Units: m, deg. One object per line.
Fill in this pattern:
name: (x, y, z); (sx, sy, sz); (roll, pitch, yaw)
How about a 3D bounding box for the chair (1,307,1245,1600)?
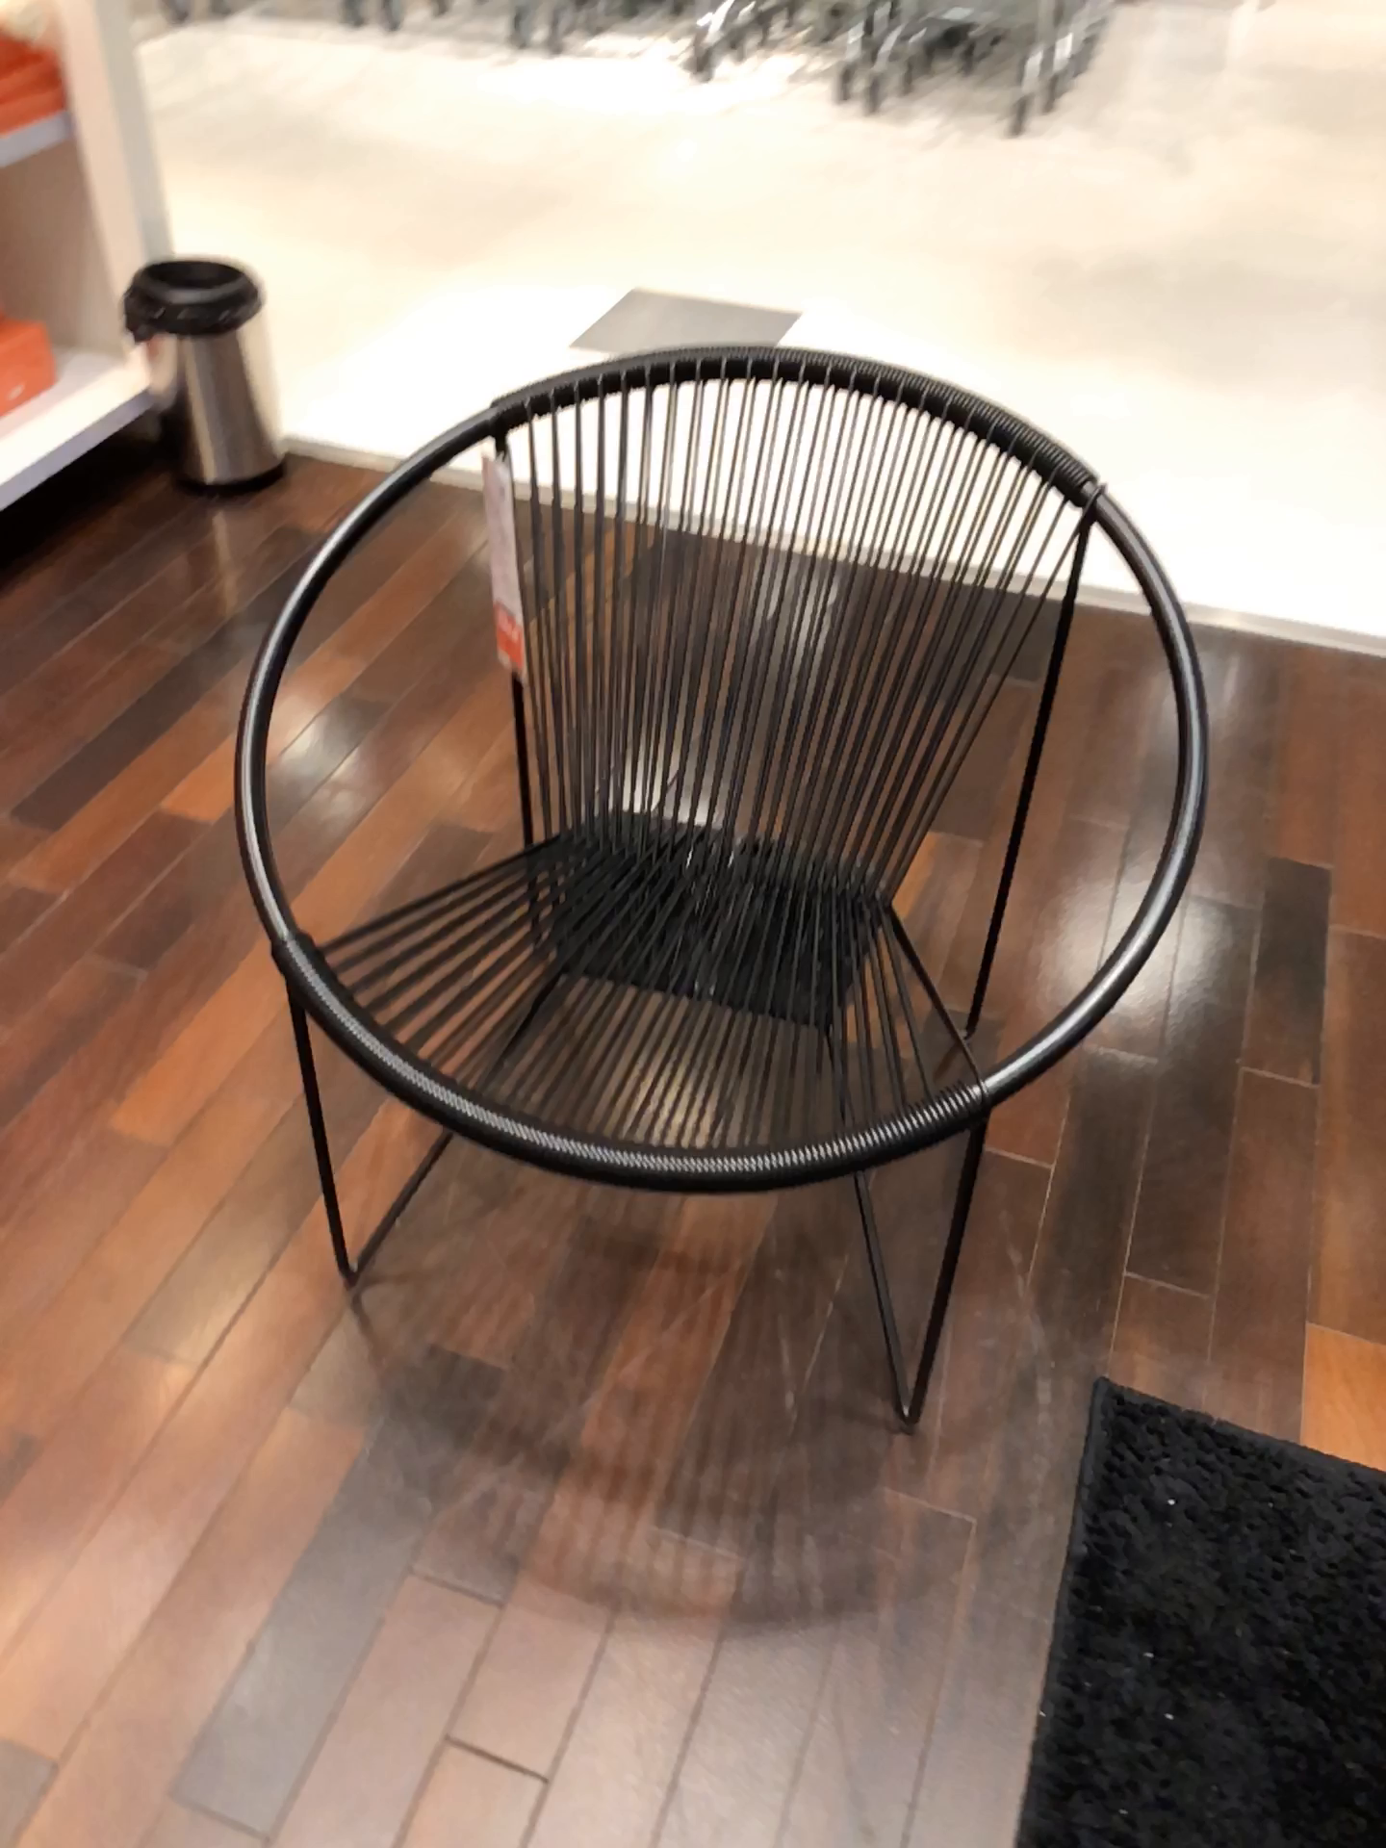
chair: (0.023, -0.029, 1.308); (0.701, 0.674, 0.735); (12, 41, 12)
